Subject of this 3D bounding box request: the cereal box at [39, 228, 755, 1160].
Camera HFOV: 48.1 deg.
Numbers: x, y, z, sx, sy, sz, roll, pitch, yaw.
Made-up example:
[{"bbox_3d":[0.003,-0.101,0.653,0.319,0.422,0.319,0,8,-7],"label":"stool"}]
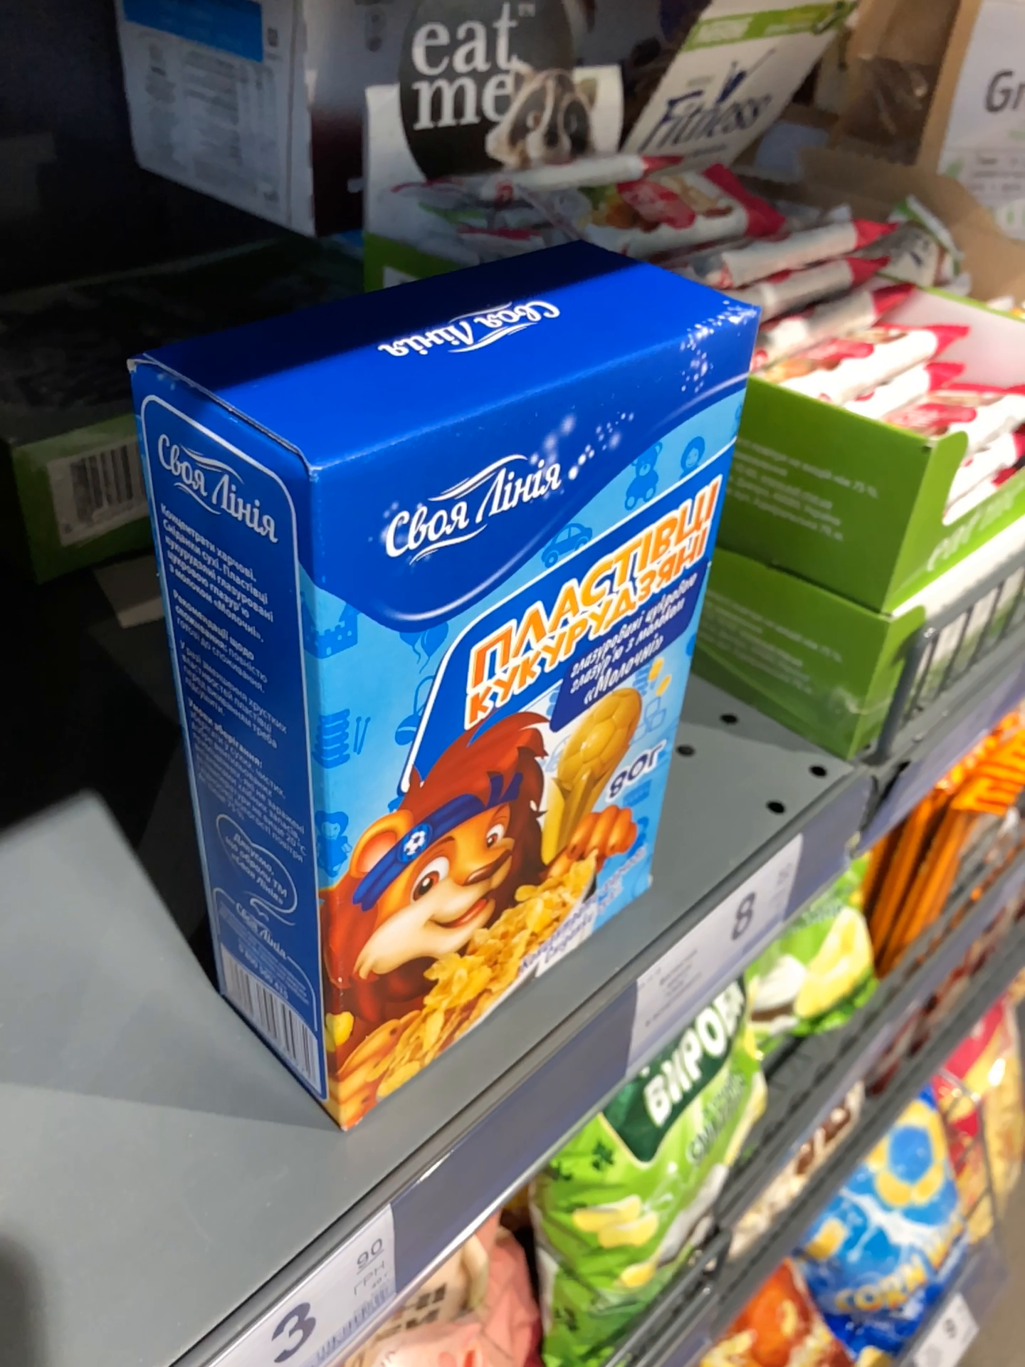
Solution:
[{"bbox_3d":[-0.021,0.001,0.259,0.060,0.169,0.121,32,44,31],"label":"cereal box"}]
